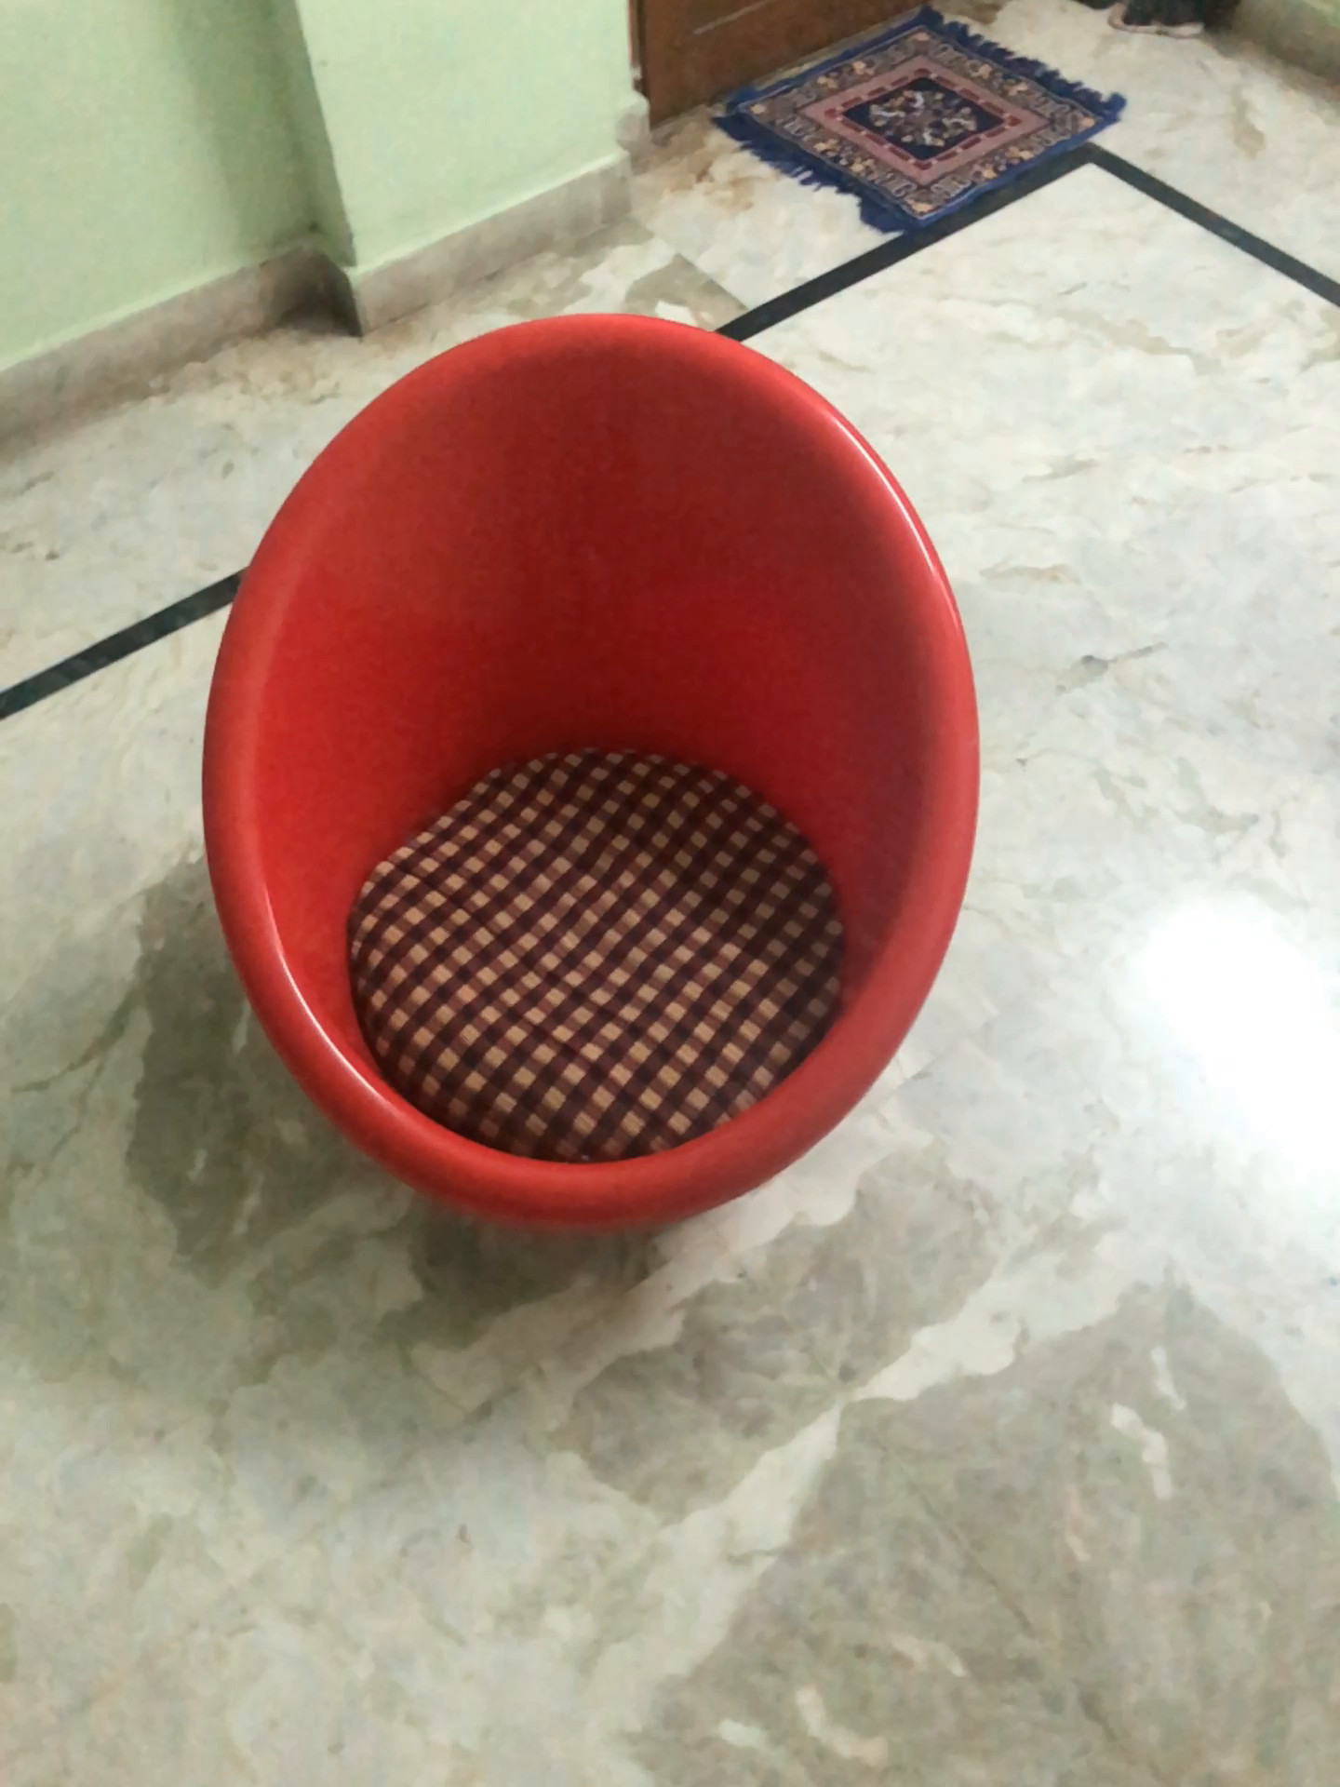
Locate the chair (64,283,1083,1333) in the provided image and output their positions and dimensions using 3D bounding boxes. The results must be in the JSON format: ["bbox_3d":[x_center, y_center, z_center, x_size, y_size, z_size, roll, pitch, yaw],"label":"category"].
[{"bbox_3d":[-0.071,-0.076,1.308,0.620,0.508,0.744,-4,56,0],"label":"chair"}]
